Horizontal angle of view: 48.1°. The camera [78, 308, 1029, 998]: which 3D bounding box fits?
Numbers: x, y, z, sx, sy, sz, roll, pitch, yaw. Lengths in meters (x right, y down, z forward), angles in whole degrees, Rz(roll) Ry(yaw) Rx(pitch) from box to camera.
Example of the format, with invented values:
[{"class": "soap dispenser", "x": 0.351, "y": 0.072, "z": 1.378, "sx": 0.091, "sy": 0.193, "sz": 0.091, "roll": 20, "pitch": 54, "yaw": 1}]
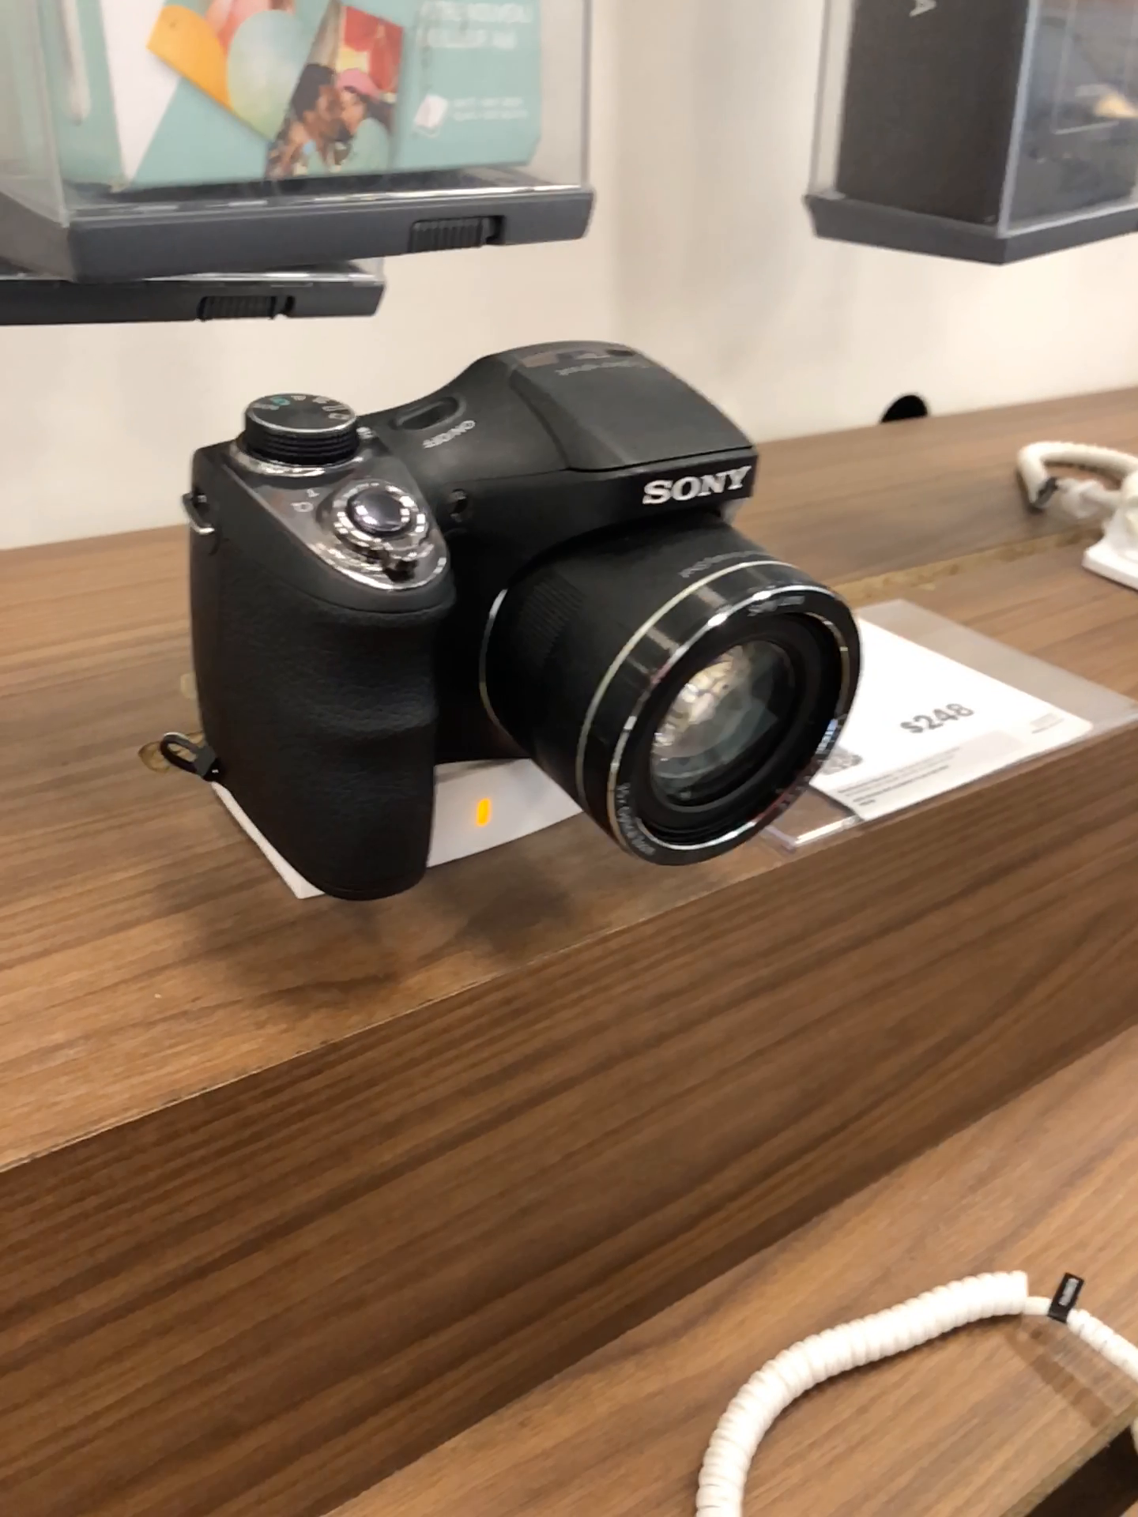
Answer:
[{"class": "camera", "x": -0.006, "y": -0.039, "z": 0.264, "sx": 0.140, "sy": 0.080, "sz": 0.120, "roll": -17, "pitch": 33, "yaw": -32}]
